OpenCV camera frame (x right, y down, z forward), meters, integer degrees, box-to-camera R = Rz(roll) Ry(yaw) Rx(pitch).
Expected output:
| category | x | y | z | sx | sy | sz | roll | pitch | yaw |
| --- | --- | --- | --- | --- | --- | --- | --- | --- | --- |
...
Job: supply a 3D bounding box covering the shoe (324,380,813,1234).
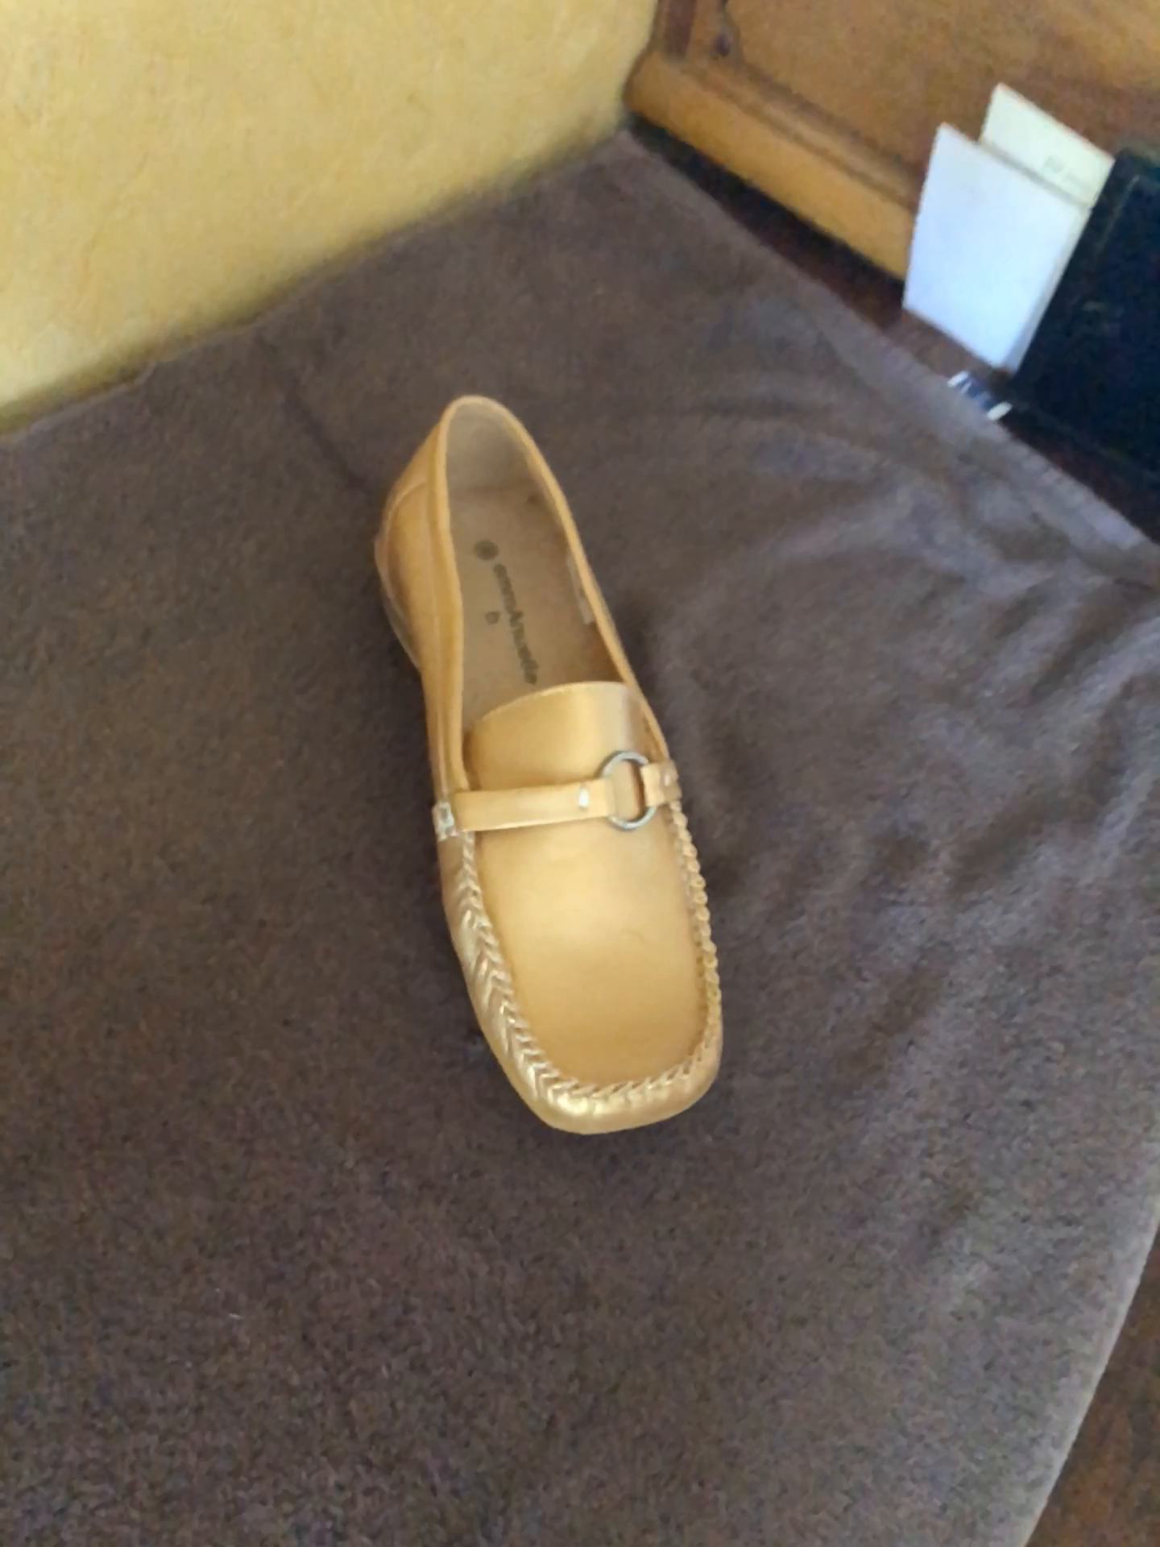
| category | x | y | z | sx | sy | sz | roll | pitch | yaw |
| --- | --- | --- | --- | --- | --- | --- | --- | --- | --- |
| shoe | -0.020 | -0.004 | 0.409 | 0.080 | 0.080 | 0.261 | -8 | 58 | -16 |
